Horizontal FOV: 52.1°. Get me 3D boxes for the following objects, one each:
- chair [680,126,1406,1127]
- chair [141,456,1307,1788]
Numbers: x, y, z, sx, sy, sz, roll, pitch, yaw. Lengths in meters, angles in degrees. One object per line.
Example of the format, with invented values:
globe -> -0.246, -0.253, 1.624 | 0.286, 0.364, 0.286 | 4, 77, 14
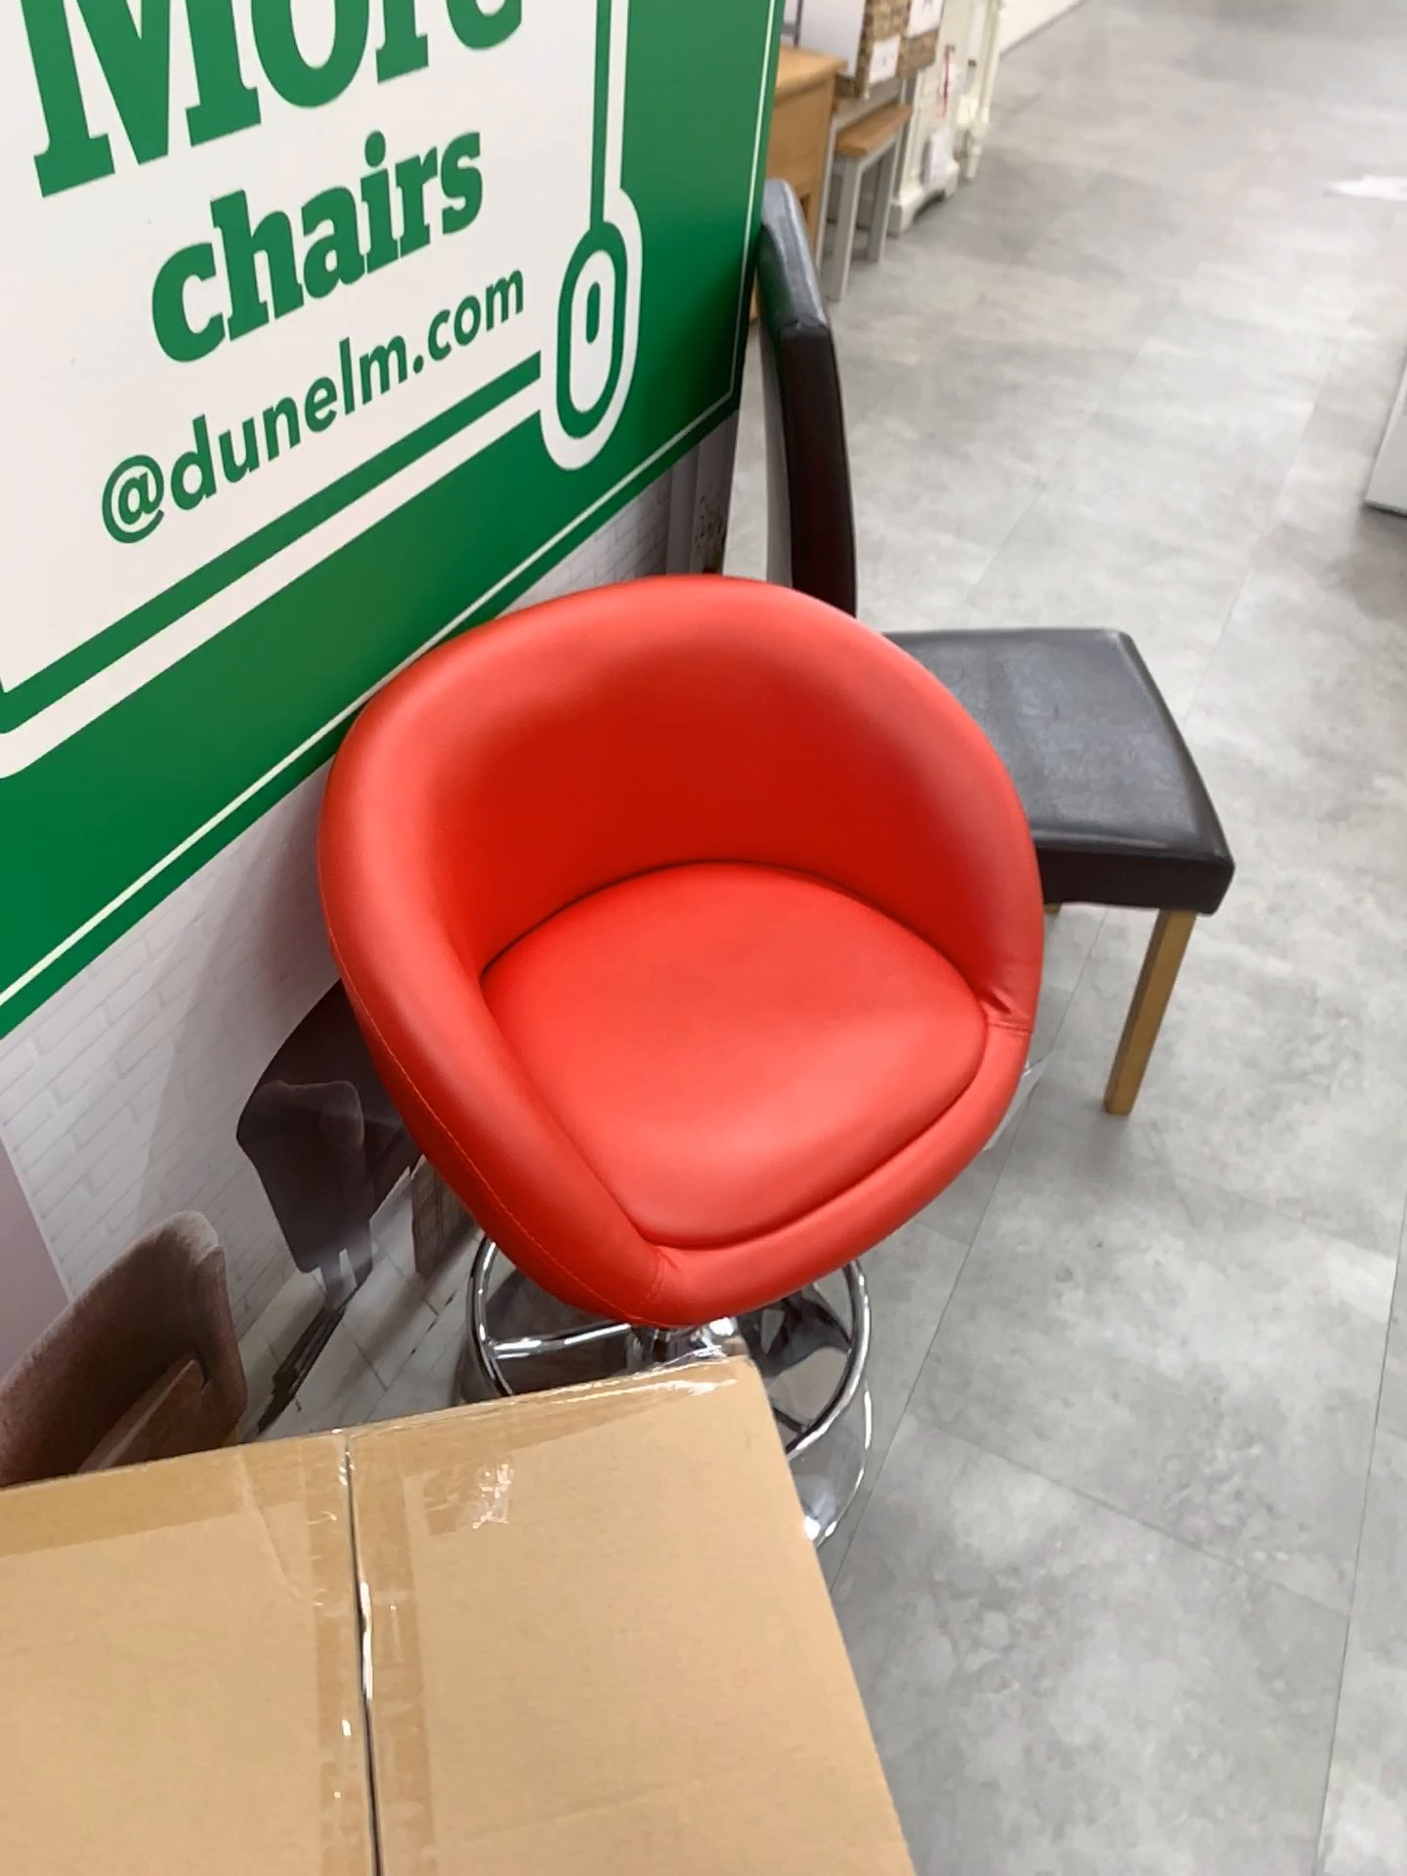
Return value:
chair -> 0.266, -0.272, 1.532 | 0.517, 0.919, 0.449 | 2, 43, -4
chair -> -0.010, 0.146, 1.106 | 0.497, 0.761, 0.479 | -31, 54, -32
